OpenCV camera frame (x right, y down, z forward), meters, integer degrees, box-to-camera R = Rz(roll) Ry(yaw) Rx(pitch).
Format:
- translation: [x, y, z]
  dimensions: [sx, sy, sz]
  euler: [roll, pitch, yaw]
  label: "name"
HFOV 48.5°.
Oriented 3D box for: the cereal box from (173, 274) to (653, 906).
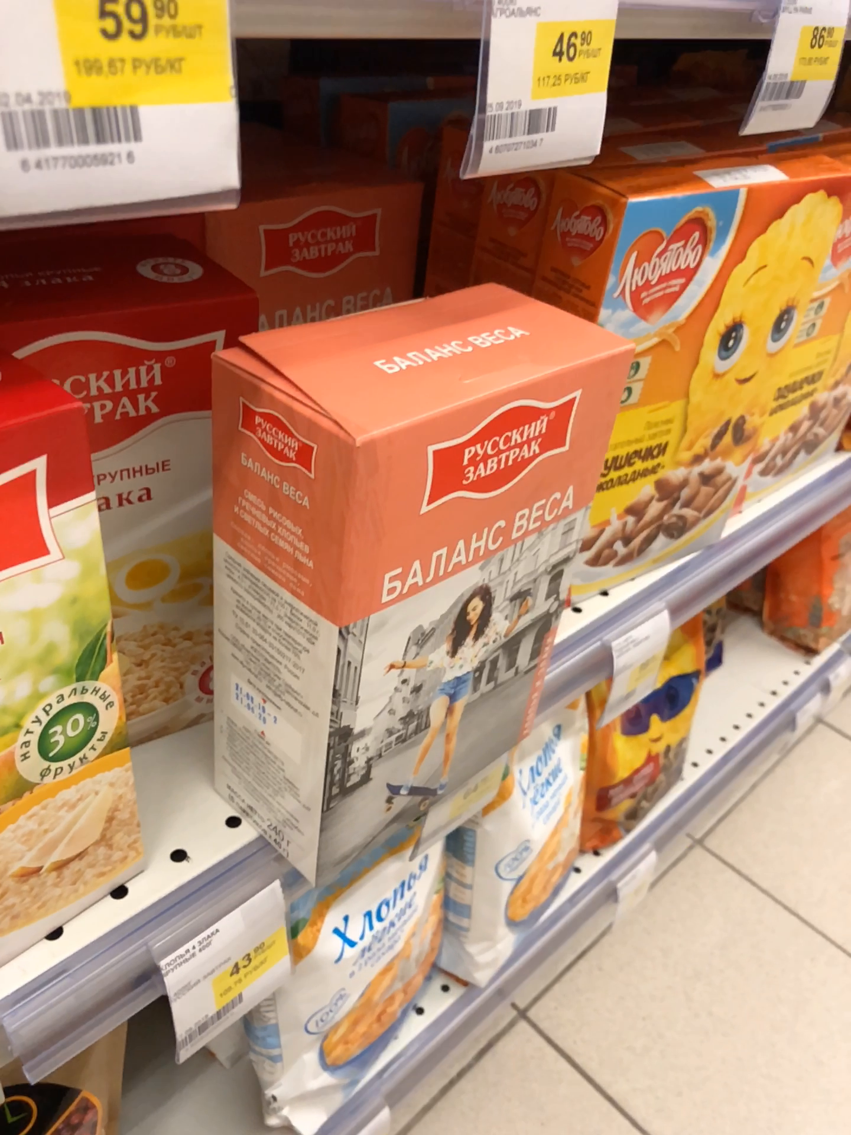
- translation: [-0.008, 0.005, 0.341]
  dimensions: [0.070, 0.179, 0.140]
  euler: [34, 42, 31]
  label: "cereal box"
